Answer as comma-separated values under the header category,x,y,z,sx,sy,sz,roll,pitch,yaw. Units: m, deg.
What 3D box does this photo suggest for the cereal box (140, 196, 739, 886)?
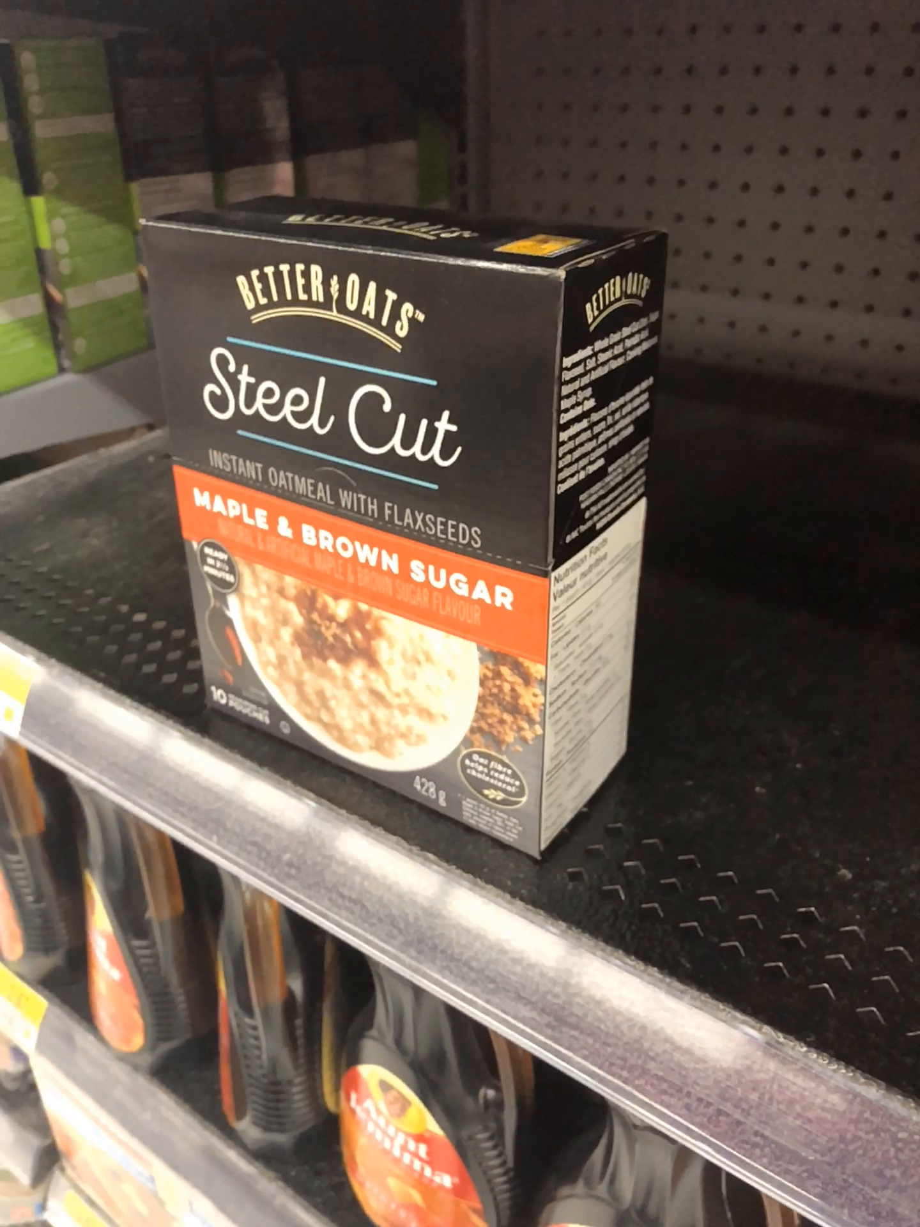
category,x,y,z,sx,sy,sz,roll,pitch,yaw
cereal box,-0.009,-0.031,0.337,0.160,0.179,0.070,18,34,30
